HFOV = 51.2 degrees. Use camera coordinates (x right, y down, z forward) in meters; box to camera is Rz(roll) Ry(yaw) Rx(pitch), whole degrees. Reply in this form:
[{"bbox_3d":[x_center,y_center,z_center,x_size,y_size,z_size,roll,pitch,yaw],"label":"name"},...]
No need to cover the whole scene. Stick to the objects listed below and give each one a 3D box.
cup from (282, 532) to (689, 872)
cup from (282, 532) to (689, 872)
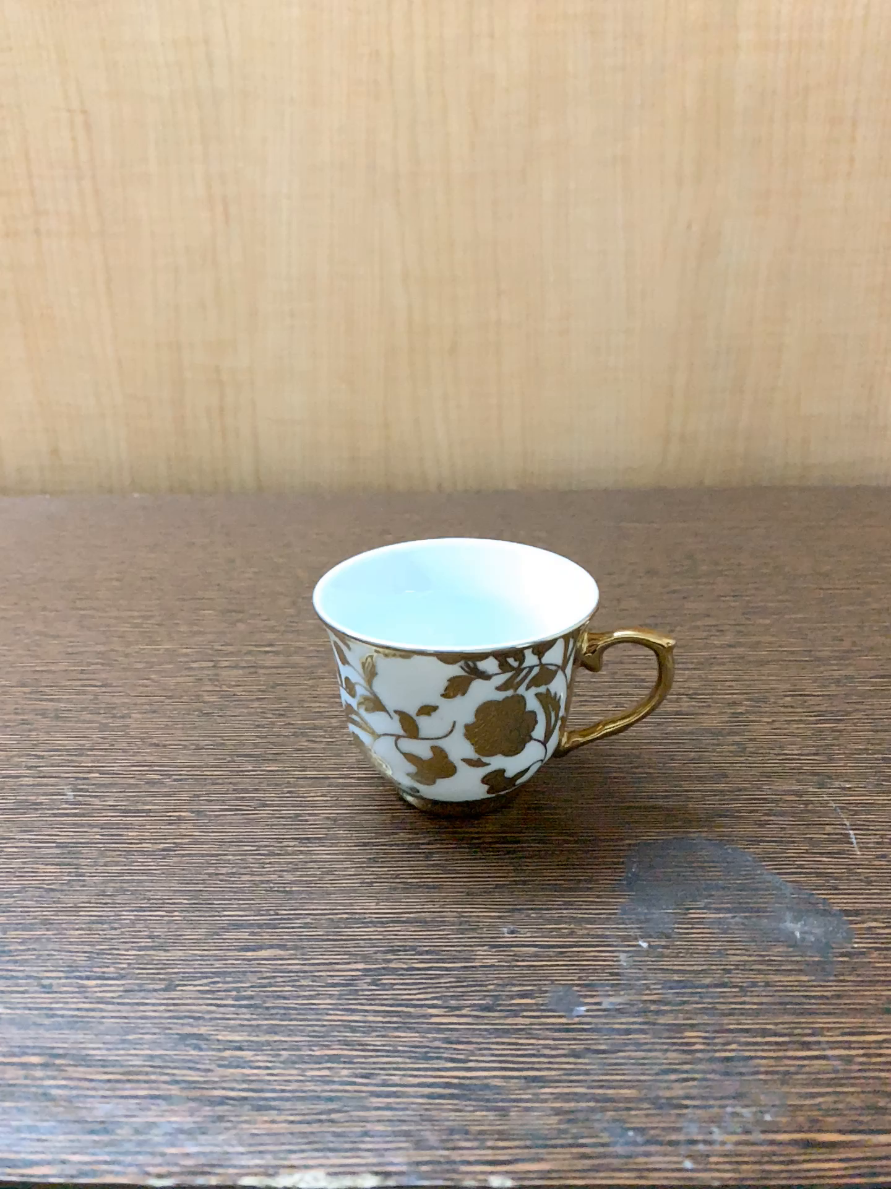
[{"bbox_3d":[0.011,0.021,0.224,0.080,0.050,0.070,2,22,6],"label":"cup"},{"bbox_3d":[0.011,0.021,0.224,0.080,0.050,0.070,2,22,6],"label":"cup"}]
